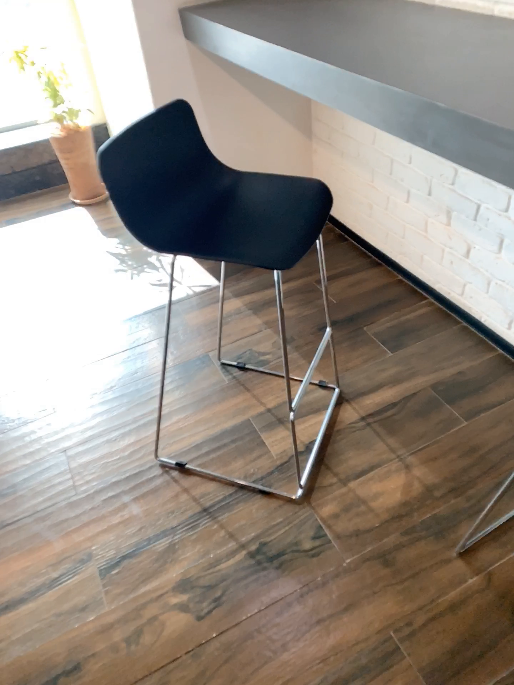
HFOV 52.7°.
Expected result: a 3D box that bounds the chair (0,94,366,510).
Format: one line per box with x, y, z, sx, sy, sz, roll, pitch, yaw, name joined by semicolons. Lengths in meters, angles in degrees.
-0.086;-0.107;1.370;0.591;0.862;0.544;10;44;19;chair
